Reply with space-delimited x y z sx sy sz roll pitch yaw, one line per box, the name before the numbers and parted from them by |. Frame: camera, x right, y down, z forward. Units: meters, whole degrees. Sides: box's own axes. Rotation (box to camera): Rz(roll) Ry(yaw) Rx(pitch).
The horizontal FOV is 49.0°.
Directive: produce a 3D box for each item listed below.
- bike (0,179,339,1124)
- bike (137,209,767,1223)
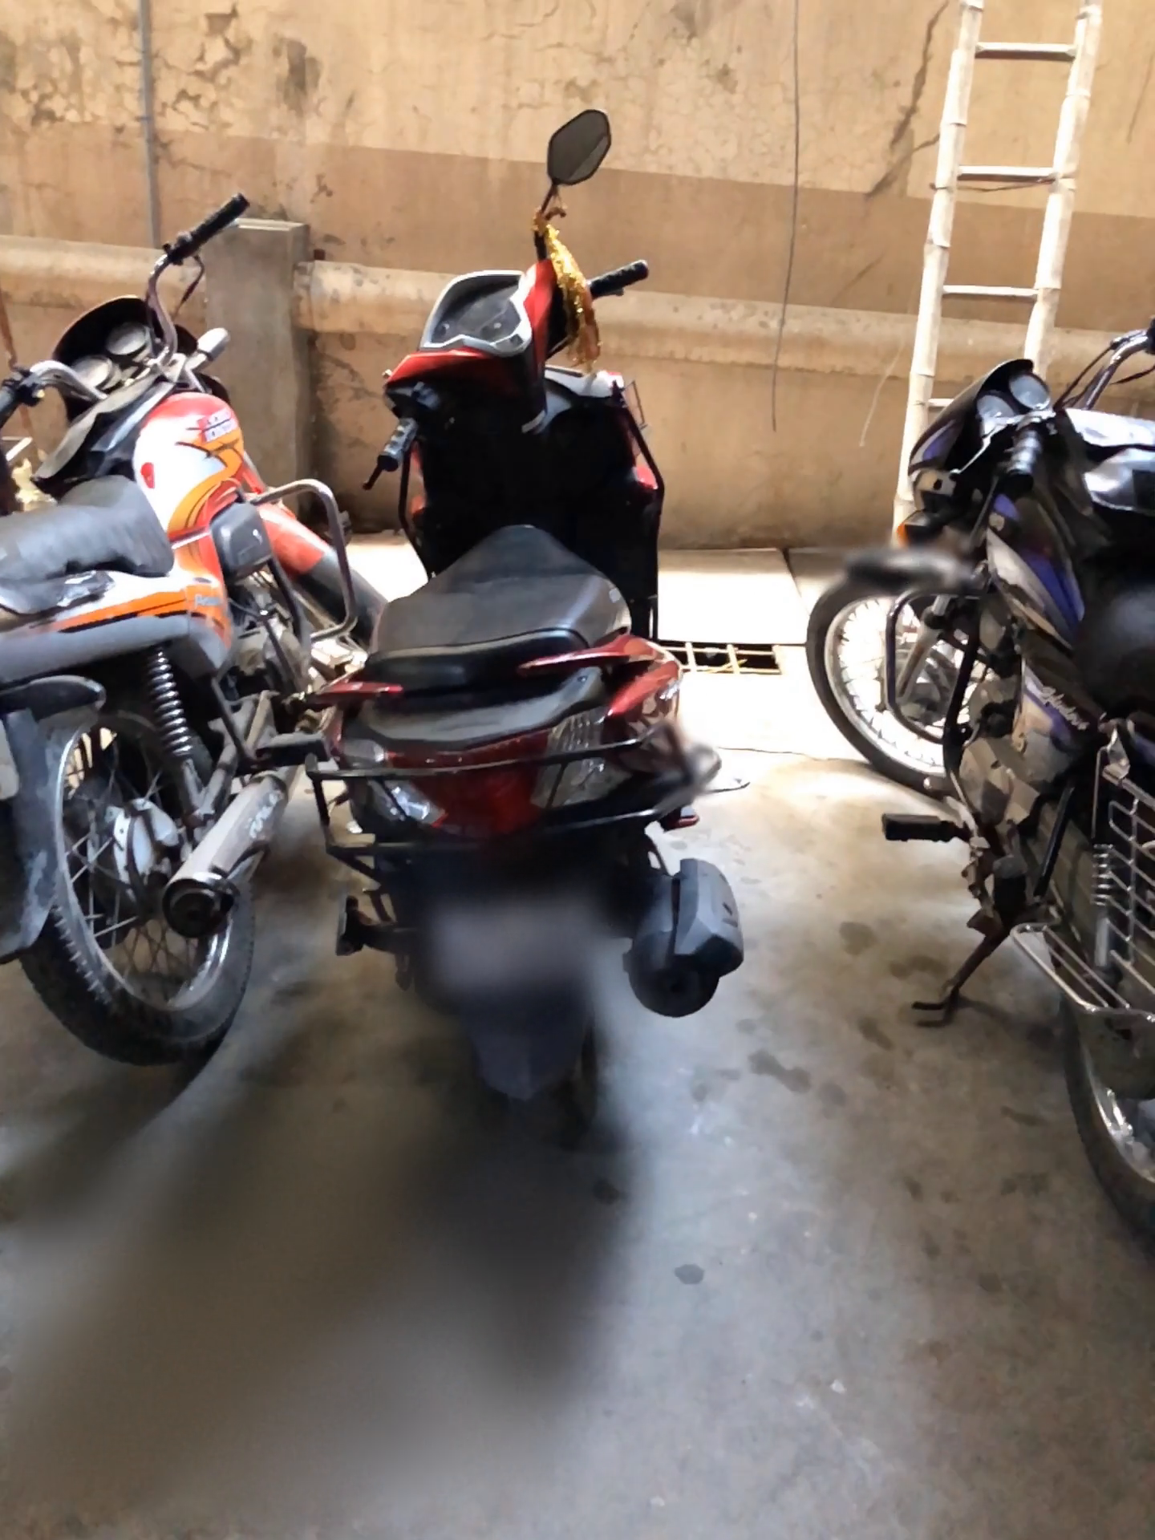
bike | -0.938 -0.385 2.246 0.838 1.089 1.658 3 27 -5
bike | -0.206 -0.231 2.161 0.630 1.140 1.446 3 29 -5
